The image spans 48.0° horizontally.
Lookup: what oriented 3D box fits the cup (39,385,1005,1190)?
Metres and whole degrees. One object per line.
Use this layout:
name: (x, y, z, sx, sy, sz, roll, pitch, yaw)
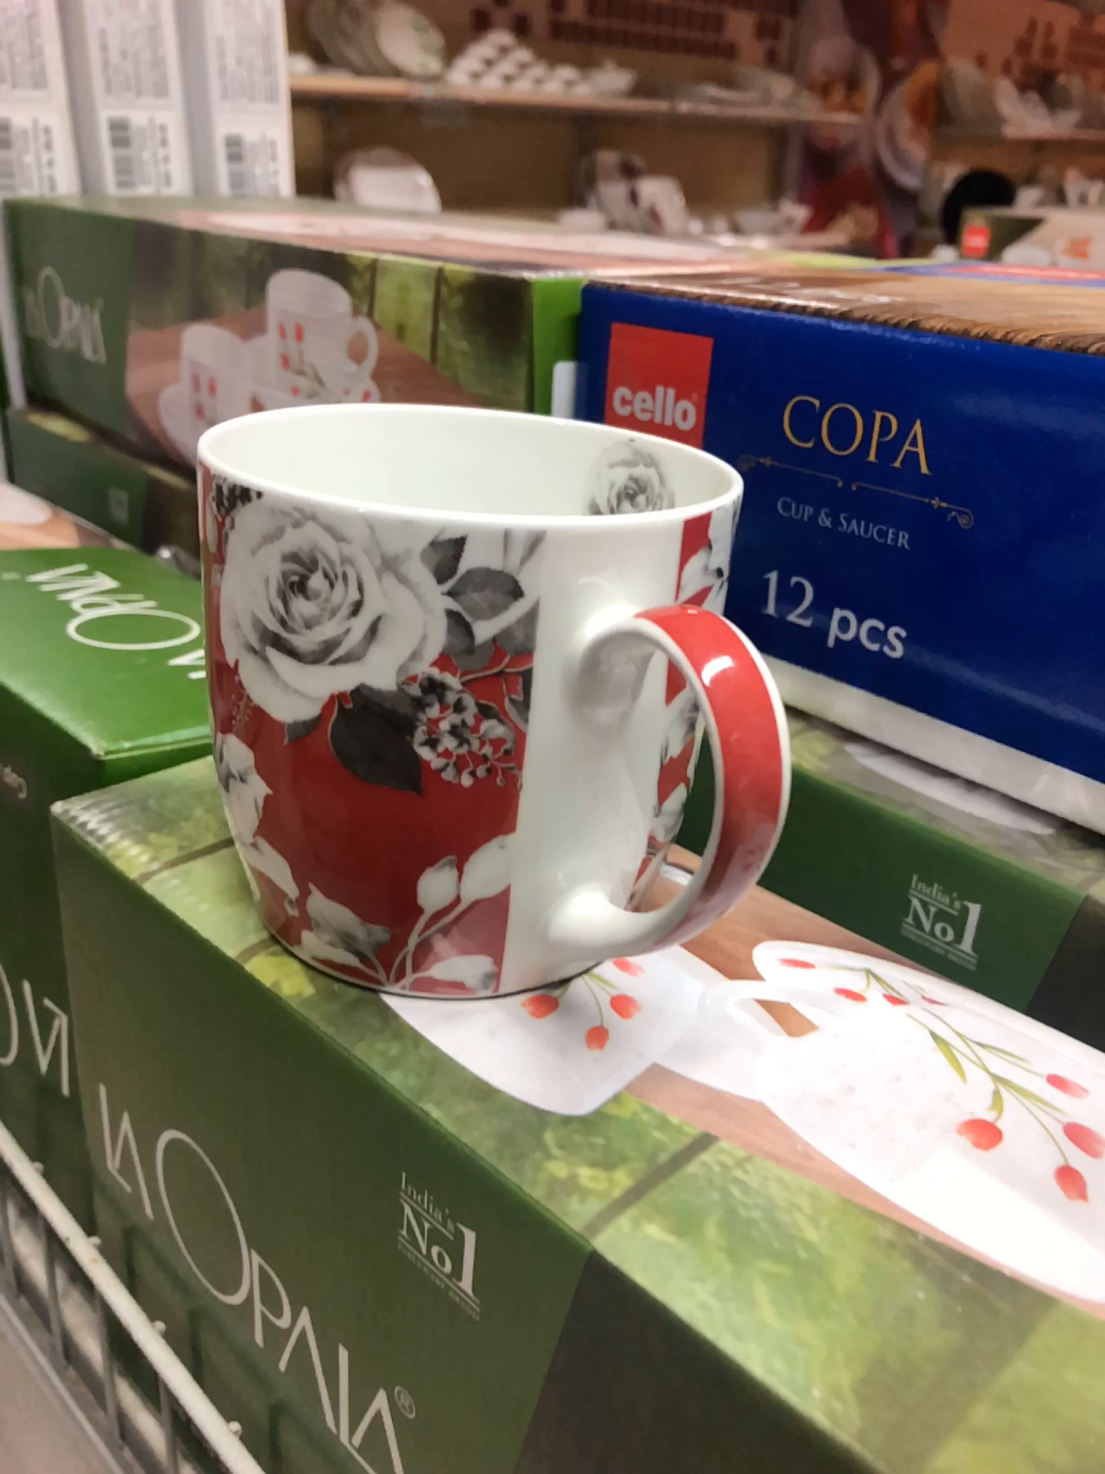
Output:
cup: (-0.011, -0.009, 0.192, 0.090, 0.070, 0.110, -14, 30, -39)
